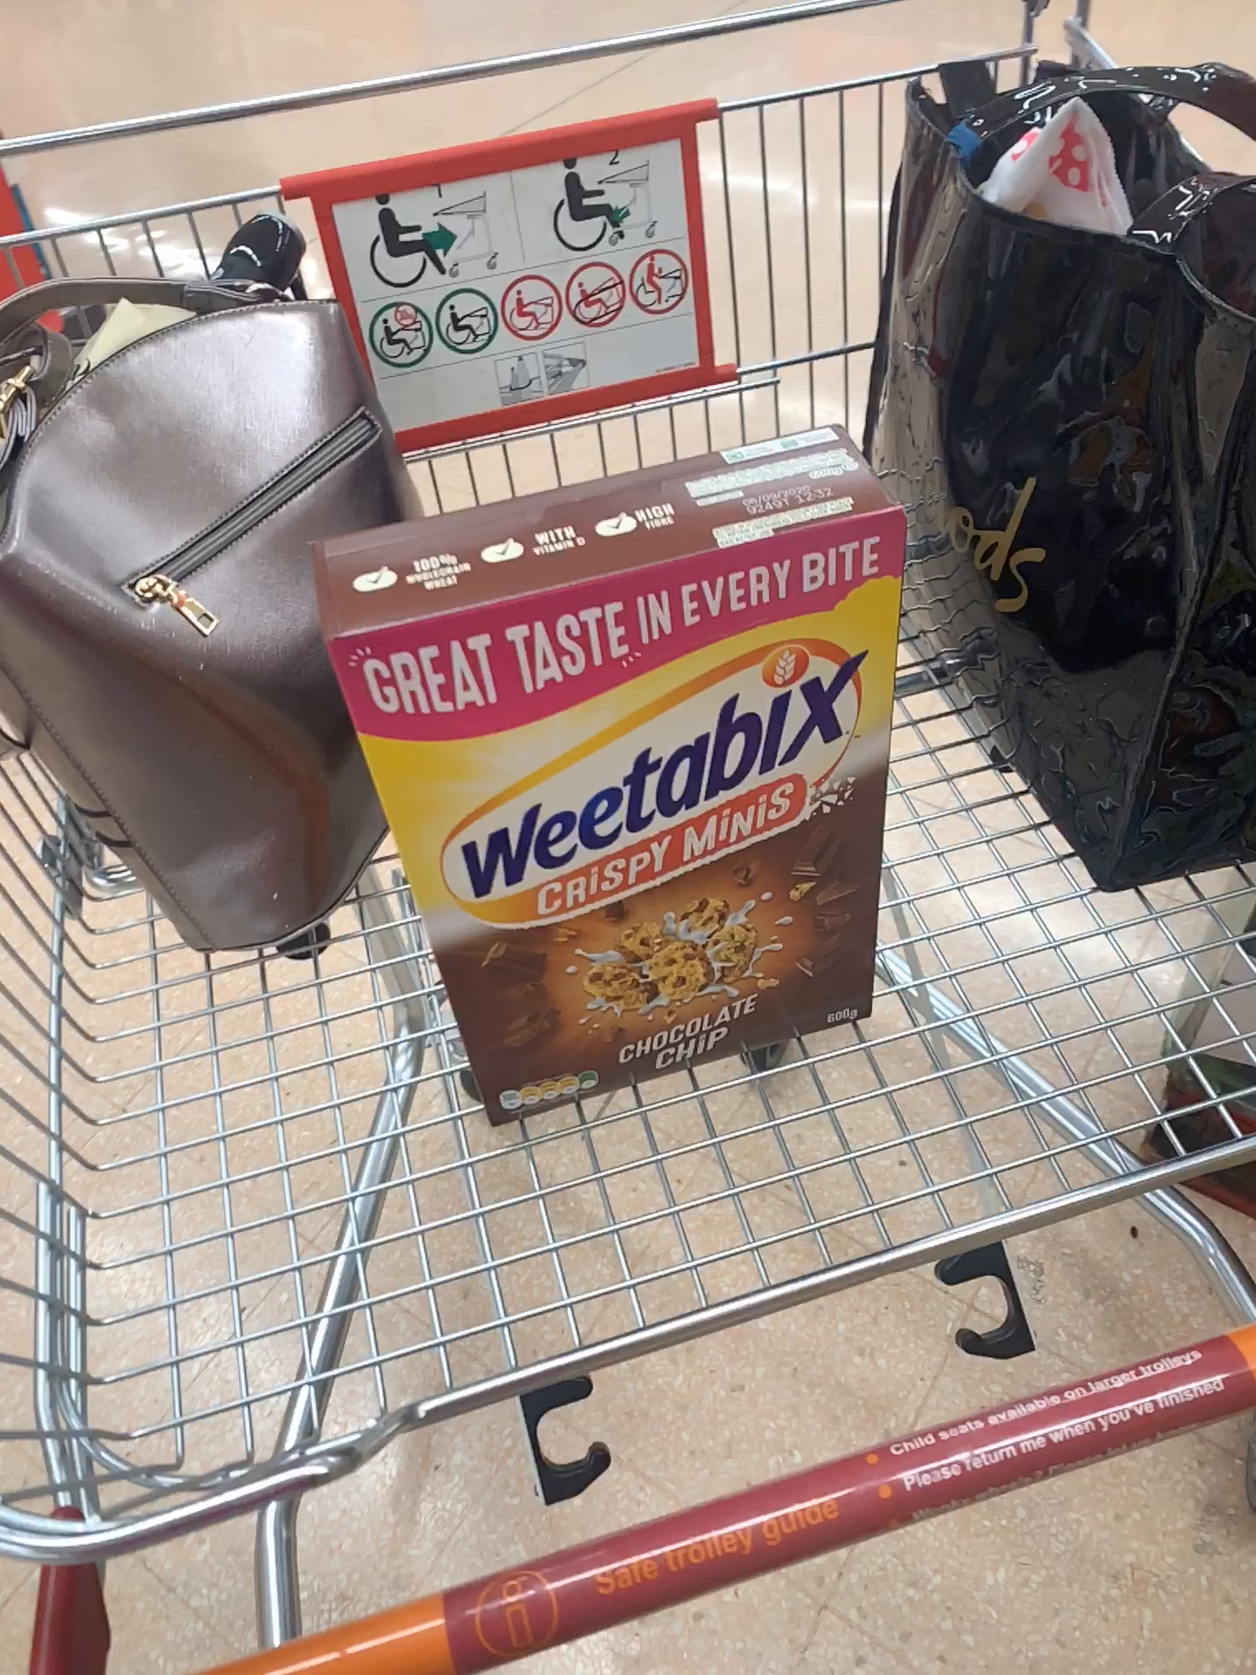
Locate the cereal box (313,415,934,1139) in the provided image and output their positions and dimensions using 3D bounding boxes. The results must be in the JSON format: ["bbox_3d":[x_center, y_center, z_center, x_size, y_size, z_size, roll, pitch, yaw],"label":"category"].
[{"bbox_3d":[0.007,-0.006,0.506,0.190,0.277,0.061,-14,46,-8],"label":"cereal box"}]
